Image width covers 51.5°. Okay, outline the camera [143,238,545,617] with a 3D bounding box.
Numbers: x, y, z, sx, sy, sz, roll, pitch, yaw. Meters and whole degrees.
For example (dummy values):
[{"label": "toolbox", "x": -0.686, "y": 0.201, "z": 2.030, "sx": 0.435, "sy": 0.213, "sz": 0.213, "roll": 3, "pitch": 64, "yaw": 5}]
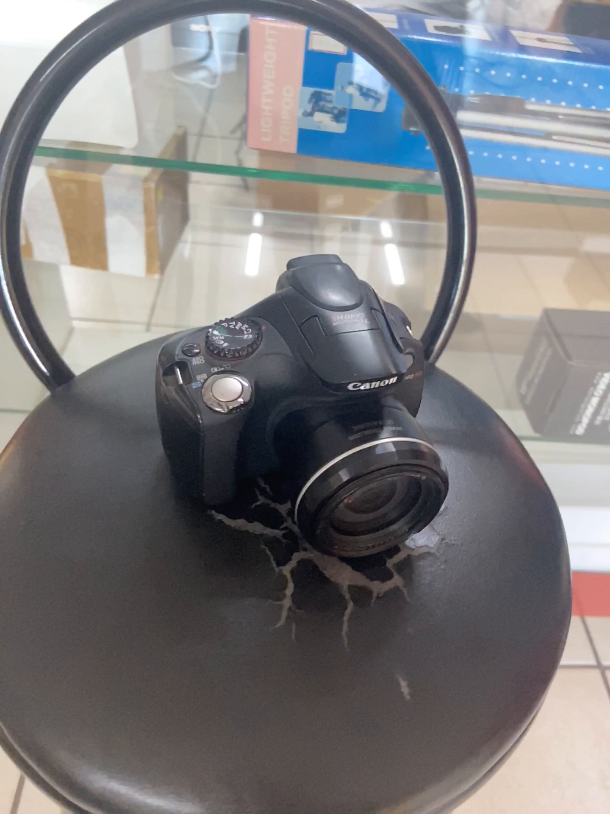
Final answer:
[{"label": "camera", "x": 0.006, "y": 0.001, "z": 0.271, "sx": 0.120, "sy": 0.089, "sz": 0.110, "roll": -12, "pitch": 45, "yaw": -19}]
